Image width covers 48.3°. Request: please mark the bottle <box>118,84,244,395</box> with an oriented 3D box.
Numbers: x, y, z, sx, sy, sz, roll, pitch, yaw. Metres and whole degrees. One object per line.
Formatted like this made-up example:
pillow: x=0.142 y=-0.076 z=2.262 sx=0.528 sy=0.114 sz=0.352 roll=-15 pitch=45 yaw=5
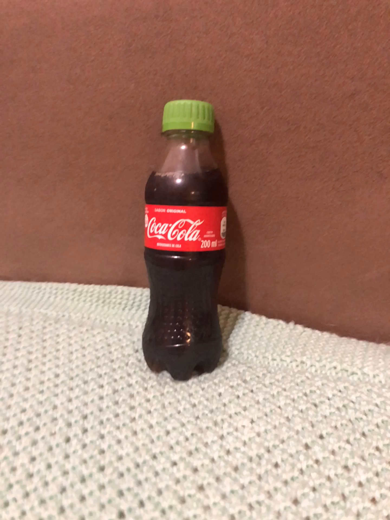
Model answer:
bottle: x=-0.007 y=-0.013 z=0.271 sx=0.060 sy=0.169 sz=0.060 roll=1 pitch=10 yaw=0
